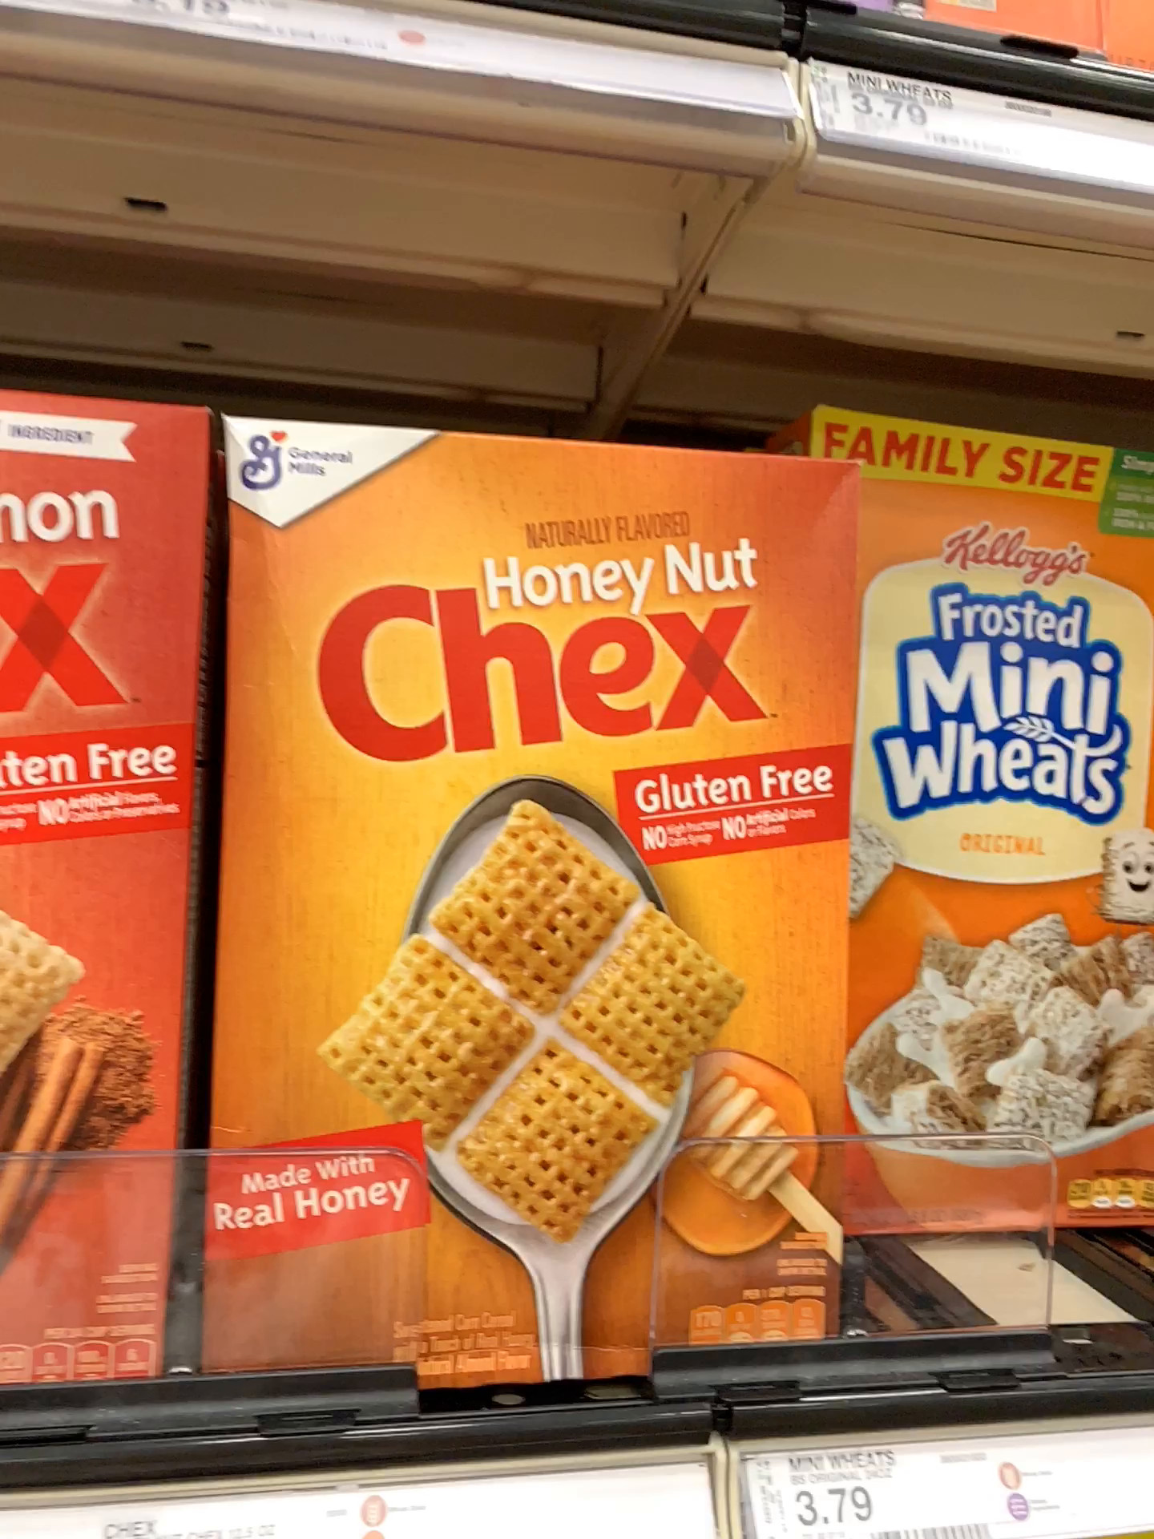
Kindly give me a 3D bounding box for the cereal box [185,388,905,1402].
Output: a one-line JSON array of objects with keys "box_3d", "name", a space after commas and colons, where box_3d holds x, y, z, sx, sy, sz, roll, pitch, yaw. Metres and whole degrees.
[{"box_3d": [-0.010, 0.039, 0.378, 0.200, 0.280, 0.060, 3, 2, -12], "name": "cereal box"}]
